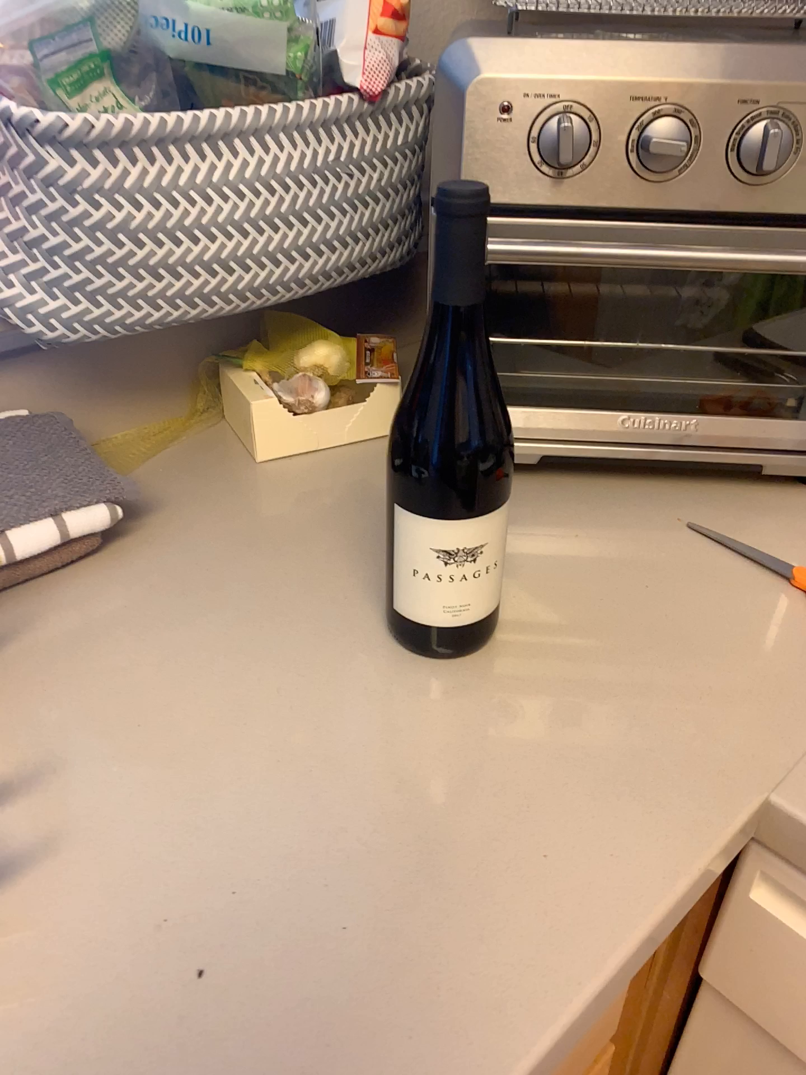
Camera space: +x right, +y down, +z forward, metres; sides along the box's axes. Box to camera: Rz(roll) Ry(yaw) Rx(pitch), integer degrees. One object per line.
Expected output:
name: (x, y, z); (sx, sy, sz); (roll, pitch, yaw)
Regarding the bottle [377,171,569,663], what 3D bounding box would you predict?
bottle: (0.030, -0.061, 0.485); (0.080, 0.268, 0.091); (-3, 33, -6)
